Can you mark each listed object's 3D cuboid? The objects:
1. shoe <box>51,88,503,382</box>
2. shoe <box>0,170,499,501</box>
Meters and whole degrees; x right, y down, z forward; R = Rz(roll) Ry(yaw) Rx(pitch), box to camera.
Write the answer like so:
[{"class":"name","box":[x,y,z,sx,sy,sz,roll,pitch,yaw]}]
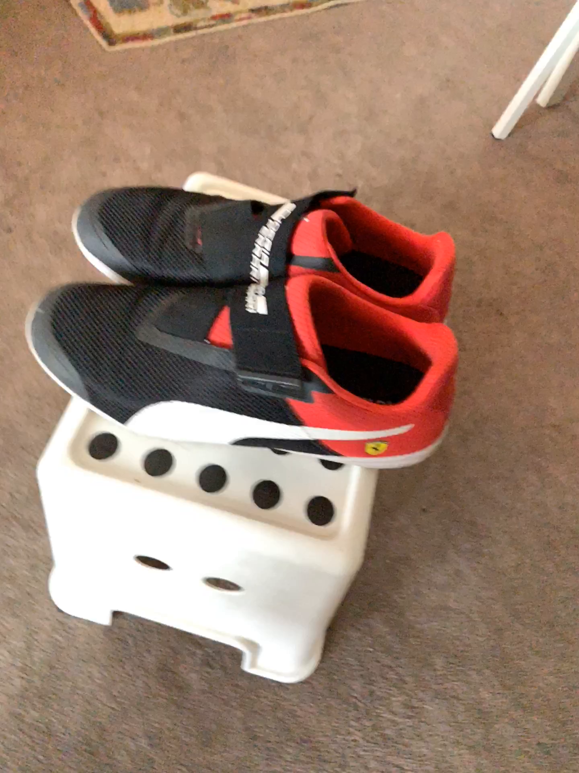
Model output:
[{"class":"shoe","box":[-0.005,-0.111,0.452,0.300,0.089,0.101,17,58,-1]},{"class":"shoe","box":[-0.029,-0.029,0.385,0.300,0.089,0.111,14,58,-2]}]
